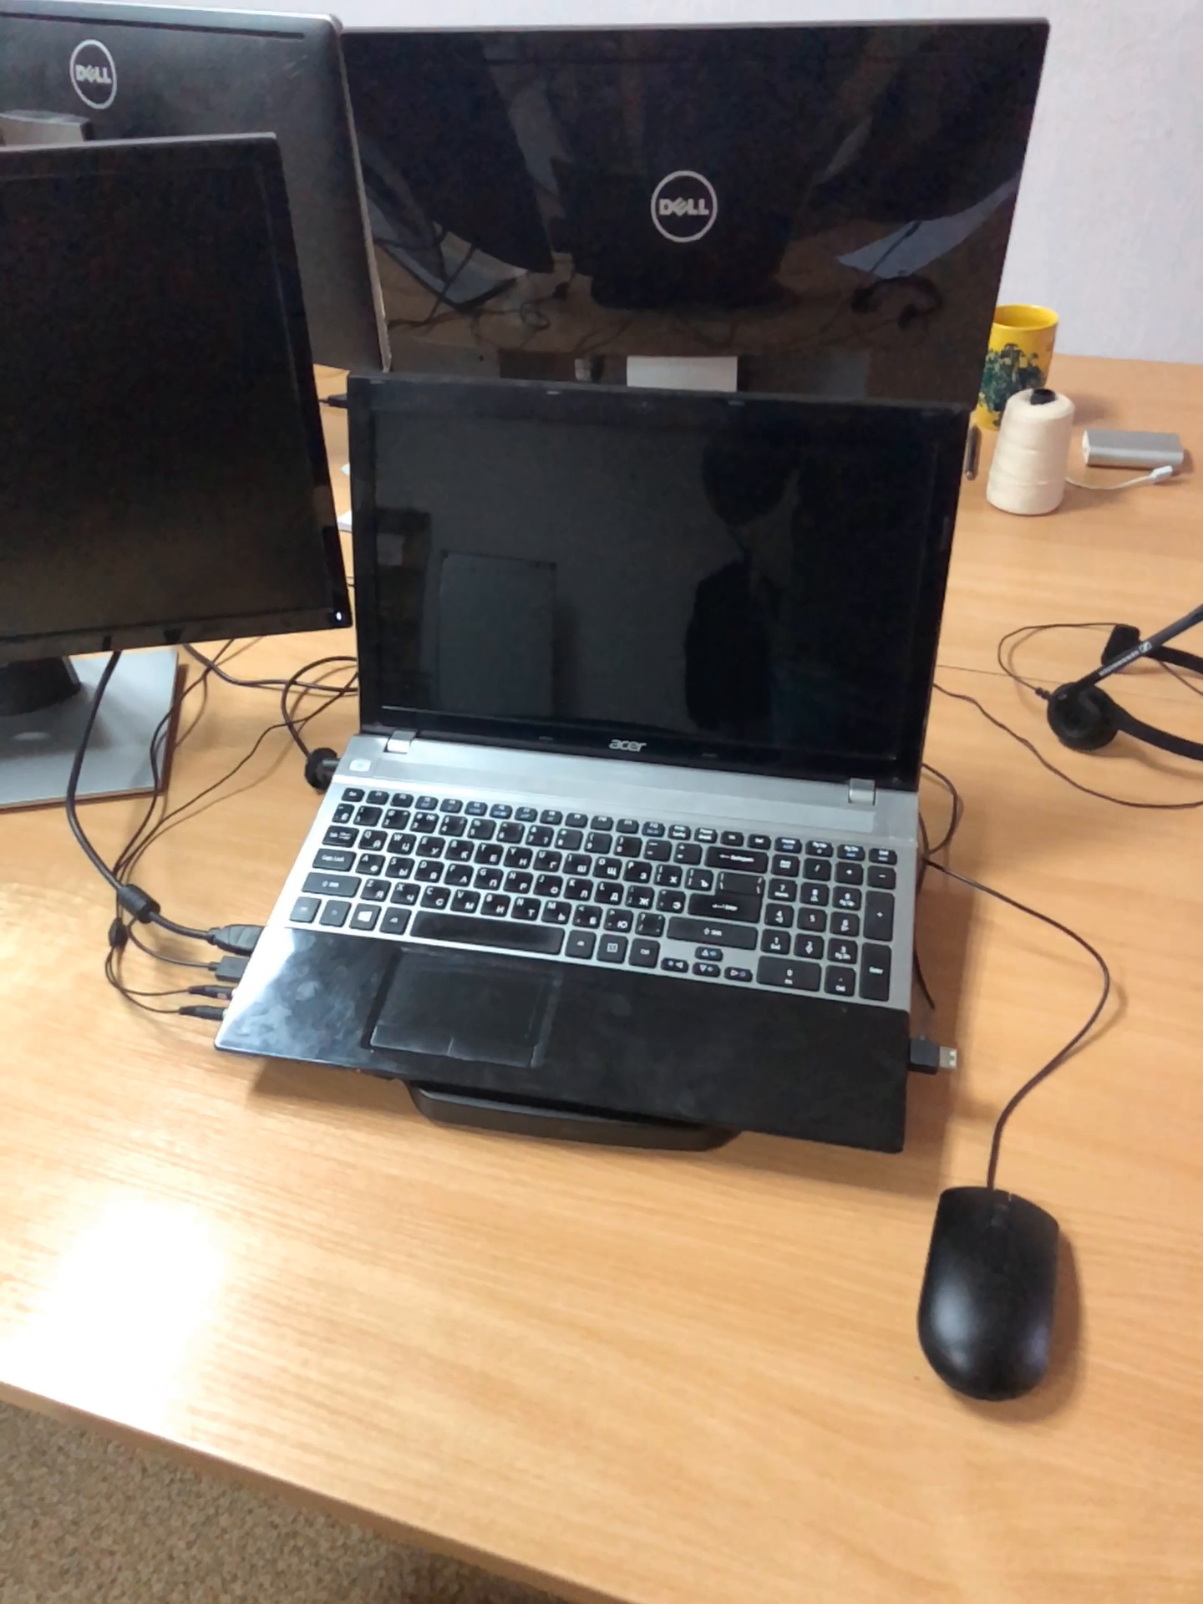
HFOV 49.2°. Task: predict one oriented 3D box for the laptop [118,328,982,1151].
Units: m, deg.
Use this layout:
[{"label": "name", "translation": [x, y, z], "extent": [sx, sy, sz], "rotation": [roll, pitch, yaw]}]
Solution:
[{"label": "laptop", "translation": [0.003, -0.060, 0.735], "extent": [0.370, 0.215, 0.353], "rotation": [6, 46, 10]}]
